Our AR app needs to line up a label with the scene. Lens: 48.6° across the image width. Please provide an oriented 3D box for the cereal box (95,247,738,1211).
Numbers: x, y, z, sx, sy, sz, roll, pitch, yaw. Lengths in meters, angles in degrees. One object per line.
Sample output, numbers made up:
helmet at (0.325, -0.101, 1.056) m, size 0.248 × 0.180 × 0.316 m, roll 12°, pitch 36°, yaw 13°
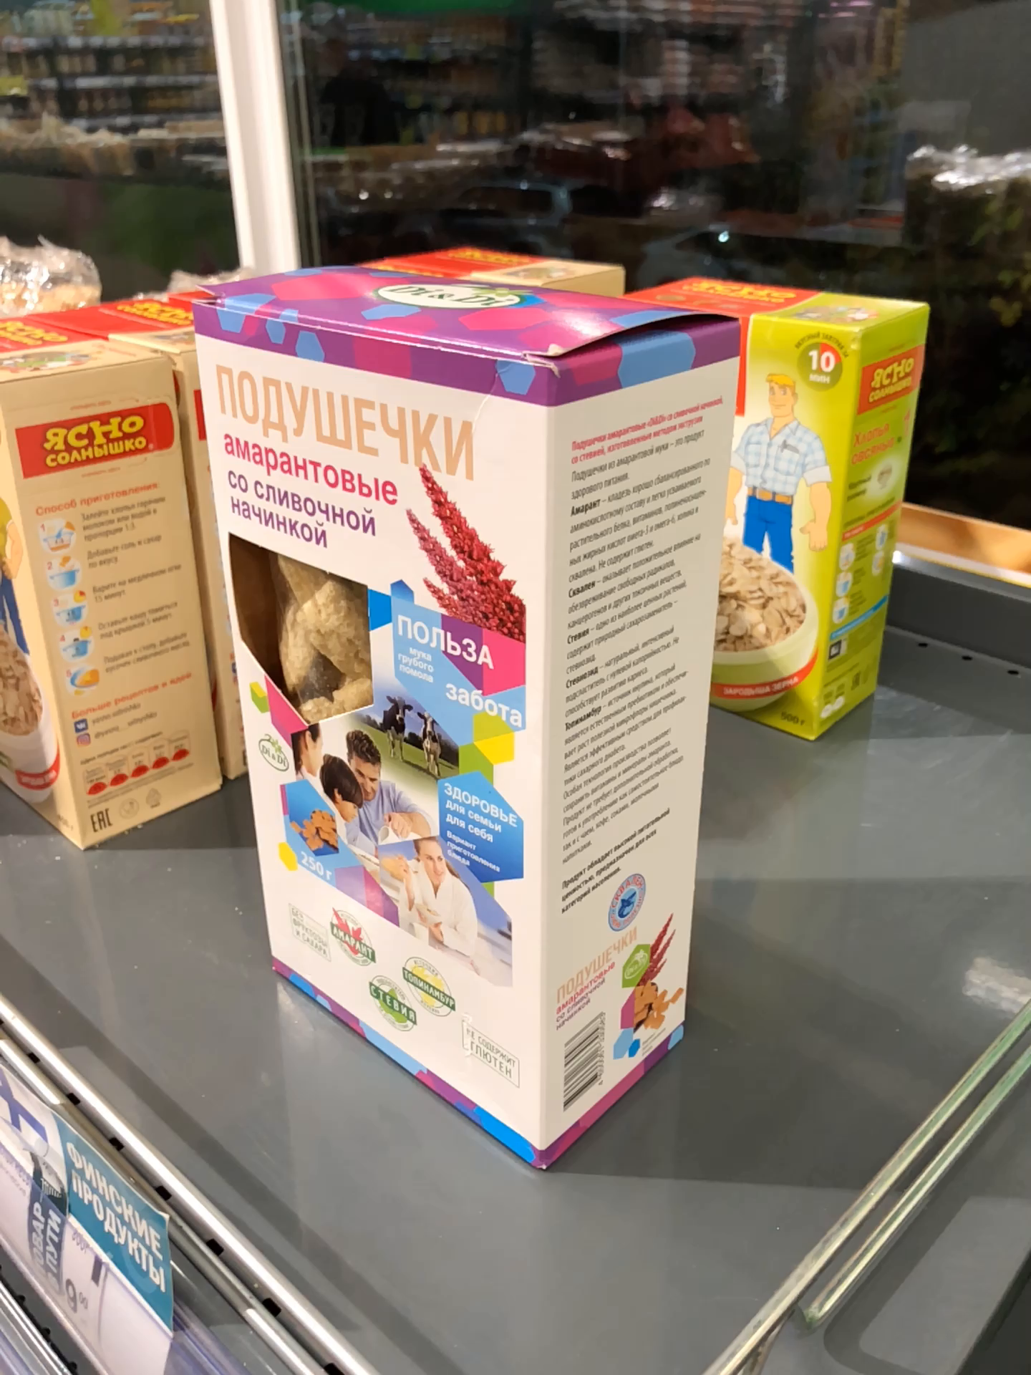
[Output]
cereal box at (-0.027, 0.005, 0.327) m, size 0.140 × 0.229 × 0.080 m, roll 23°, pitch 35°, yaw 37°
